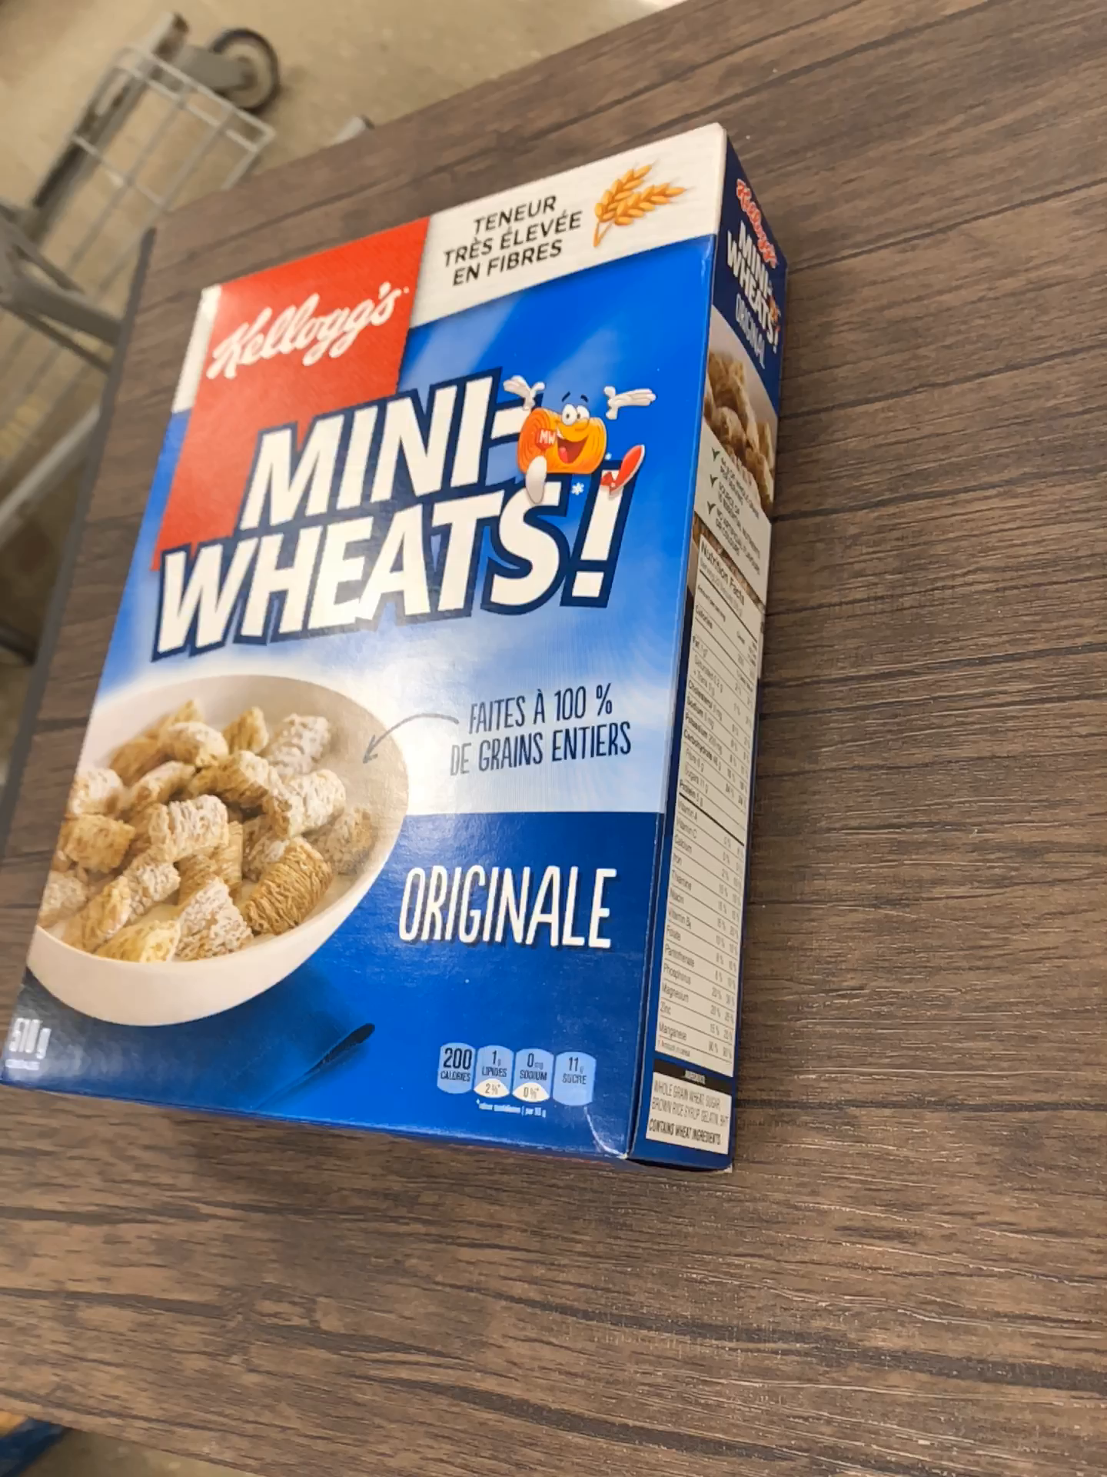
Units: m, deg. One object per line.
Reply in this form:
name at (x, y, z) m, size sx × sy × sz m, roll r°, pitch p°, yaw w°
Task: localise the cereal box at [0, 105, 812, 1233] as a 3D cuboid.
cereal box at (-0.046, -0.020, 0.347) m, size 0.211 × 0.060 × 0.270 m, roll -4°, pitch 66°, yaw 29°
